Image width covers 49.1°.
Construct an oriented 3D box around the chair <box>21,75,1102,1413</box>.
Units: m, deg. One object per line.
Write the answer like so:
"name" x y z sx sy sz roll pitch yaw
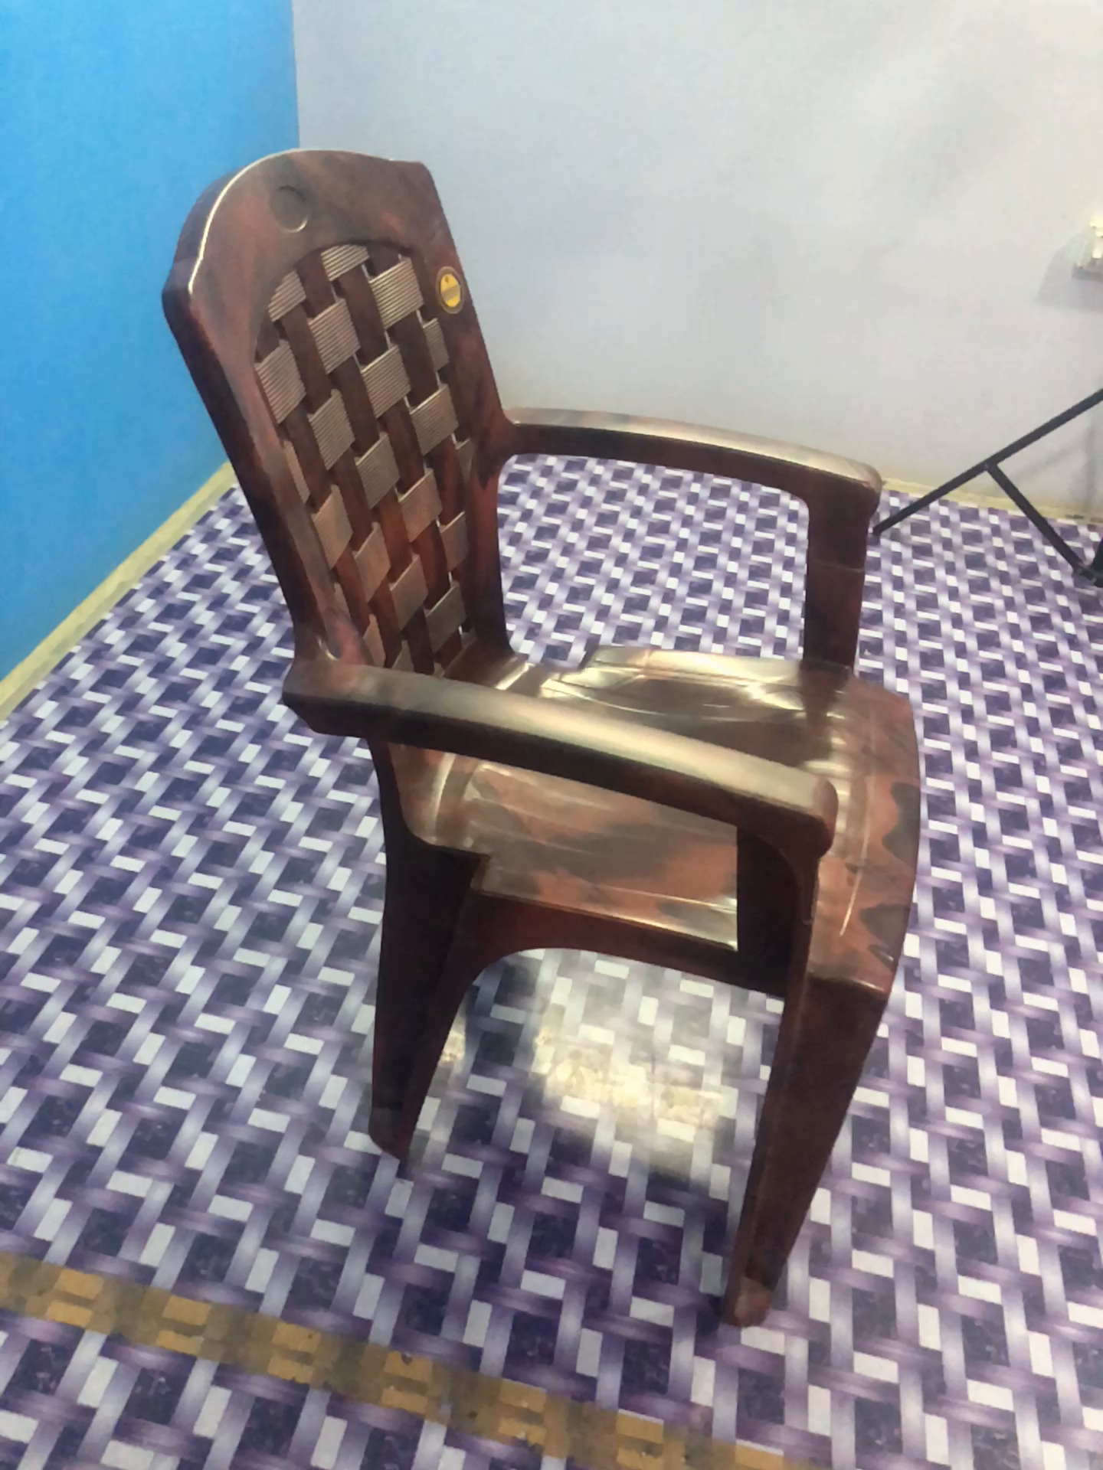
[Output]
"chair" 0.065 -0.008 1.031 0.590 0.845 0.594 13 37 9
